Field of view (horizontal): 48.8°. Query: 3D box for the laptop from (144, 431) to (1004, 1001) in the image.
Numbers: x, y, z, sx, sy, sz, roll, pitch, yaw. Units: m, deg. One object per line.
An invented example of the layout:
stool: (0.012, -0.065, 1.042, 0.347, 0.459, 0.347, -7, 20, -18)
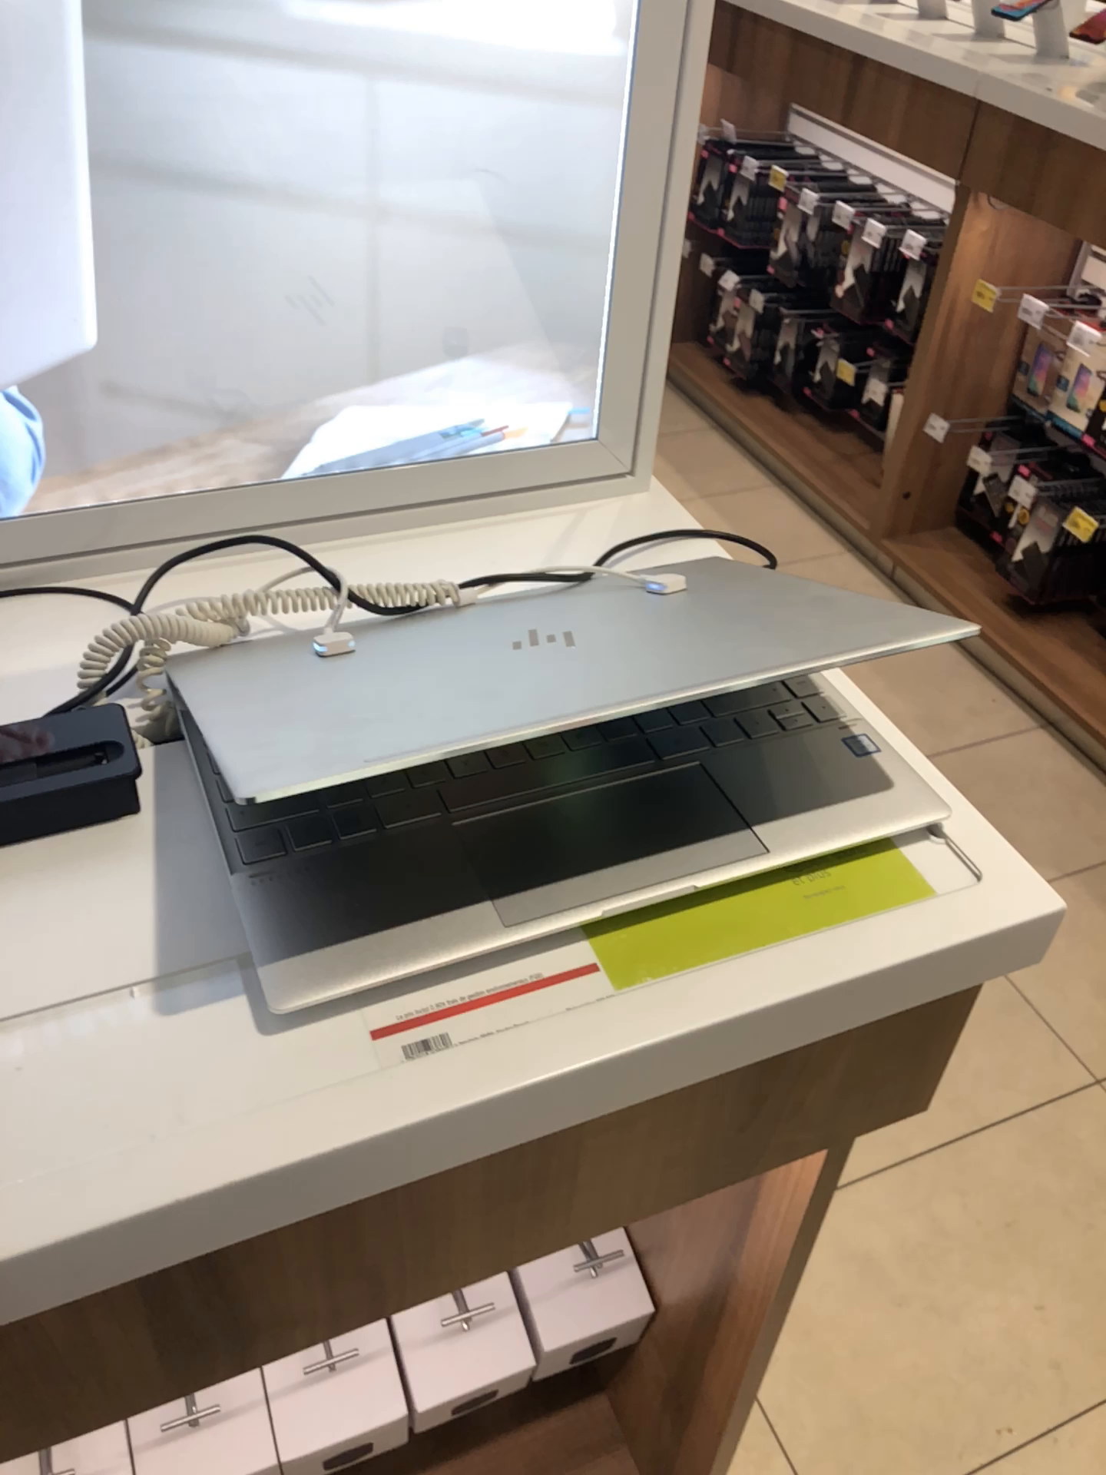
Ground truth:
laptop: (0.000, -0.032, 0.533, 0.298, 0.078, 0.211, -13, 43, -20)
